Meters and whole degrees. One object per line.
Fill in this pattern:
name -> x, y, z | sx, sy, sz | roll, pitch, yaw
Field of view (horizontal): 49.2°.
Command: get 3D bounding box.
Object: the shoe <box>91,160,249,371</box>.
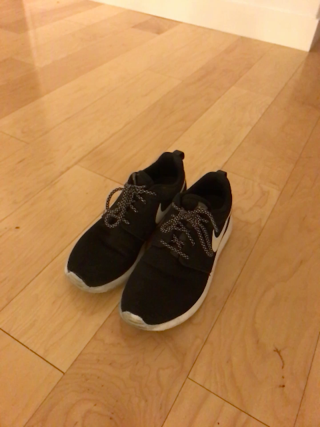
shoe -> 0.030, 0.052, 0.513 | 0.110, 0.099, 0.292 | 20, 46, 16

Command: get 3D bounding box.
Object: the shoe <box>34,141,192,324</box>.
shoe -> -0.054, 0.009, 0.558 | 0.100, 0.099, 0.292 | 20, 46, 16
